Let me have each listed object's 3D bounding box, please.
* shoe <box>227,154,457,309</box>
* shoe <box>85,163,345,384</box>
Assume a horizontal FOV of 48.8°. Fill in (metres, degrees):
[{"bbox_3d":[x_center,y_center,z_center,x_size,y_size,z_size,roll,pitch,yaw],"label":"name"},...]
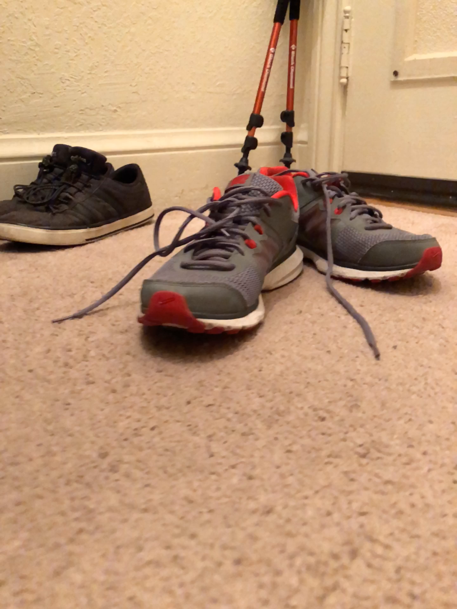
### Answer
[{"bbox_3d":[0.126,-0.107,0.603,0.113,0.120,0.298,-14,24,-30],"label":"shoe"},{"bbox_3d":[0.015,-0.058,0.481,0.113,0.120,0.299,9,23,24],"label":"shoe"}]
